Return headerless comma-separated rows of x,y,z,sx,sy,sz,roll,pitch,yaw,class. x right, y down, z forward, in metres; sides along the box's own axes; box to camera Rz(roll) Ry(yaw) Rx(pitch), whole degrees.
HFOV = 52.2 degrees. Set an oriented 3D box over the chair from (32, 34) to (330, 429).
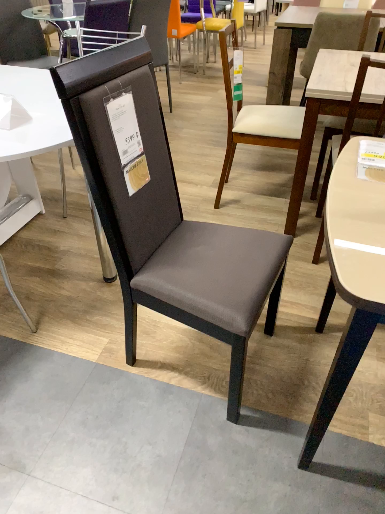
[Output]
0.003,-0.039,1.169,0.501,0.994,0.442,17,43,21,chair
